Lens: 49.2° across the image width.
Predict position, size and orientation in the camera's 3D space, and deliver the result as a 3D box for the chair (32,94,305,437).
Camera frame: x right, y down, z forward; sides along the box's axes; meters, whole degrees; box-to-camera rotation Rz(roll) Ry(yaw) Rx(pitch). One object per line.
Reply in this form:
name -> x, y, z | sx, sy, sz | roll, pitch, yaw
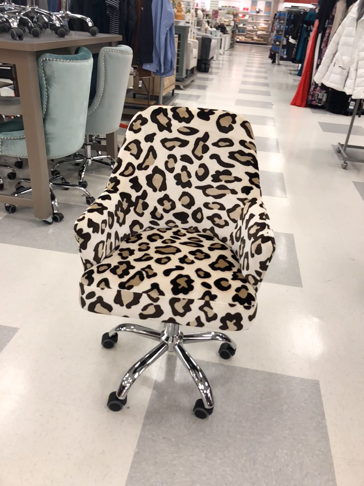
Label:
chair -> -0.026, 0.046, 1.324 | 0.599, 0.887, 0.582 | 7, 29, 5
